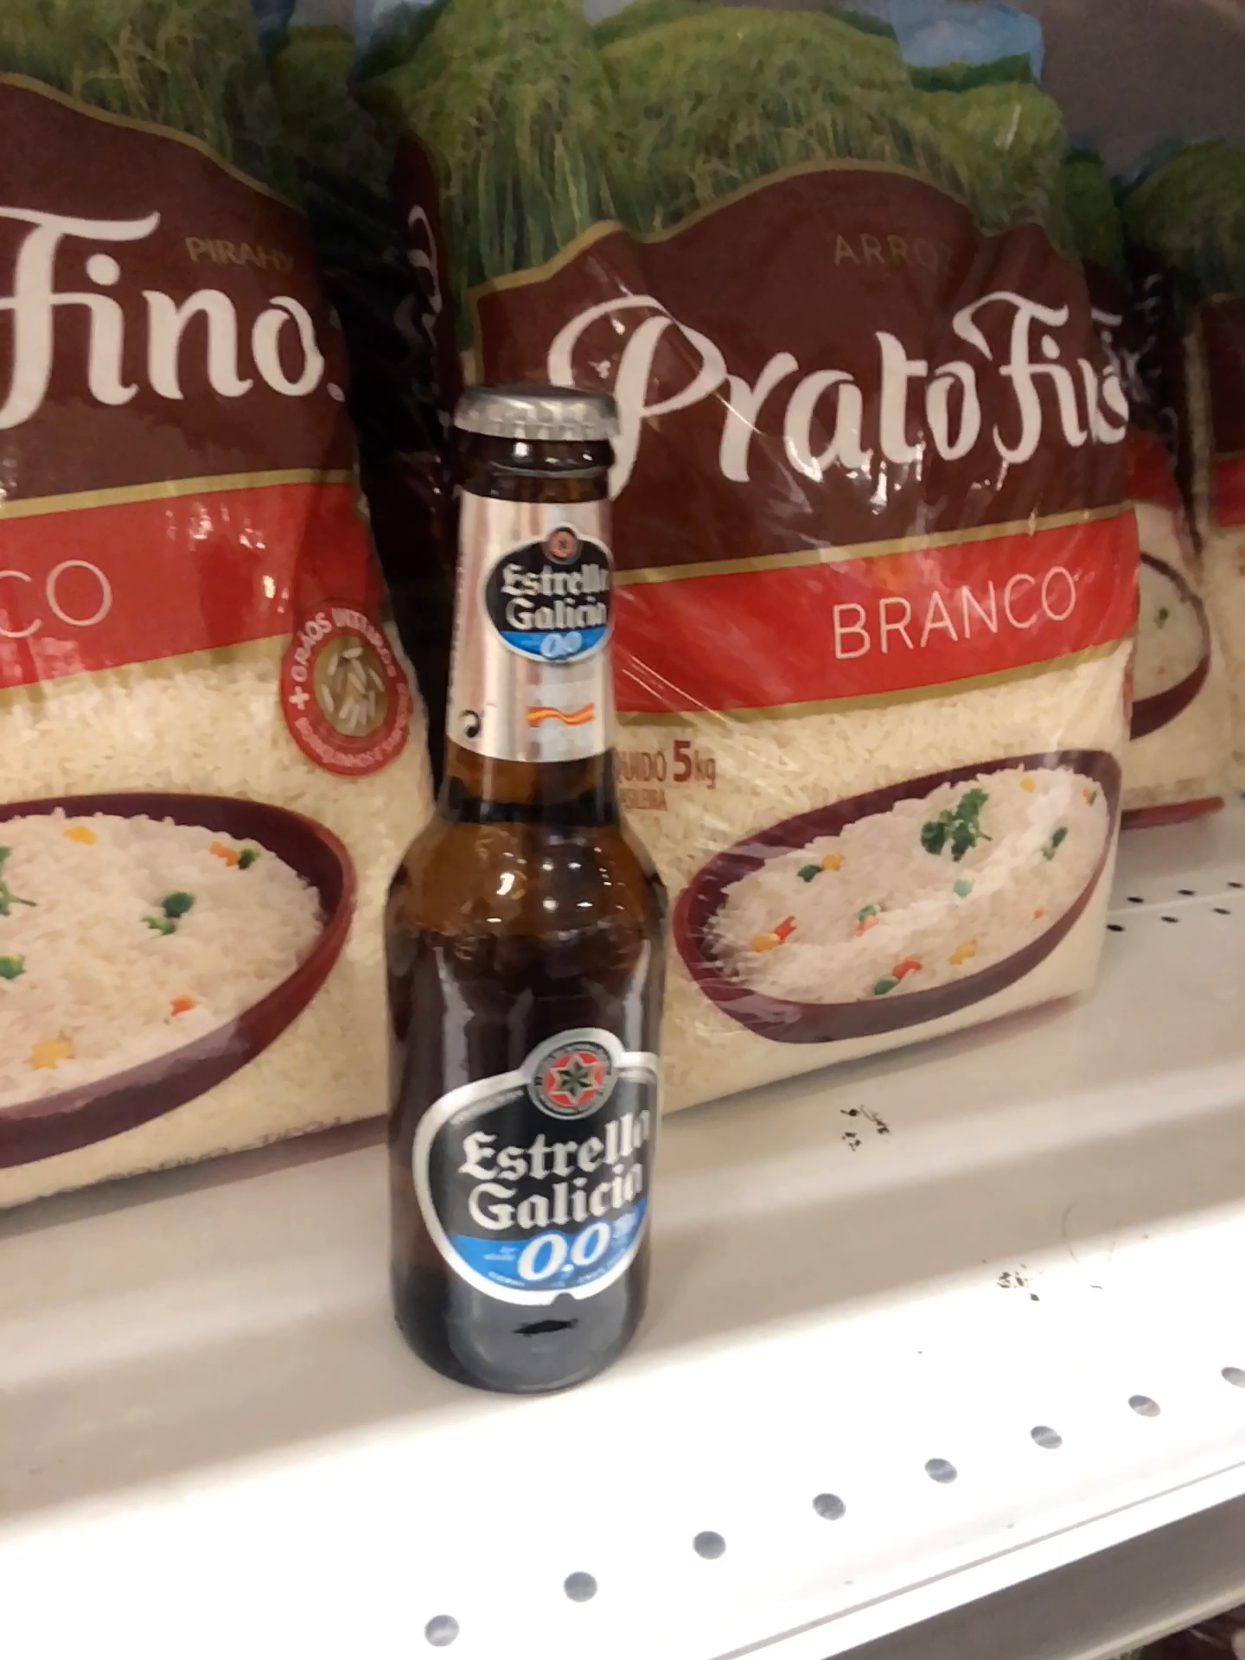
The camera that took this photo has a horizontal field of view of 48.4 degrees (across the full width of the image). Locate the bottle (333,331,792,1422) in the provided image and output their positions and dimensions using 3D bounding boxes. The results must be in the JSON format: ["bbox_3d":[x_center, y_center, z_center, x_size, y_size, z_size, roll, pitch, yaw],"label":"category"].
[{"bbox_3d":[-0.018,0.010,0.260,0.060,0.189,0.060,3,22,-1],"label":"bottle"}]
